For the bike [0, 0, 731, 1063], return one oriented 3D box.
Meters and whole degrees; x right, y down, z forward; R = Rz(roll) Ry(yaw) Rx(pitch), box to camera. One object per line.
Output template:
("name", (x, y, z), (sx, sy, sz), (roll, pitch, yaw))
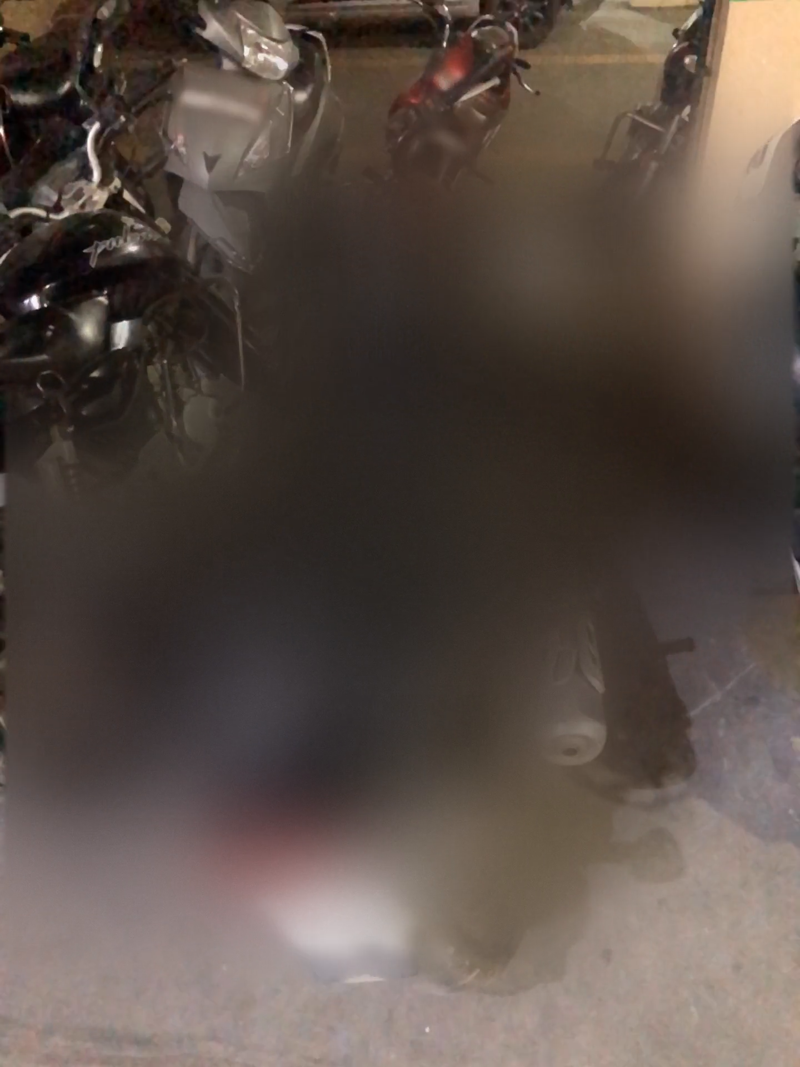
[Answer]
("bike", (-0.115, -0.204, 1.693), (0.863, 1.251, 1.677), (0, 40, 5))
